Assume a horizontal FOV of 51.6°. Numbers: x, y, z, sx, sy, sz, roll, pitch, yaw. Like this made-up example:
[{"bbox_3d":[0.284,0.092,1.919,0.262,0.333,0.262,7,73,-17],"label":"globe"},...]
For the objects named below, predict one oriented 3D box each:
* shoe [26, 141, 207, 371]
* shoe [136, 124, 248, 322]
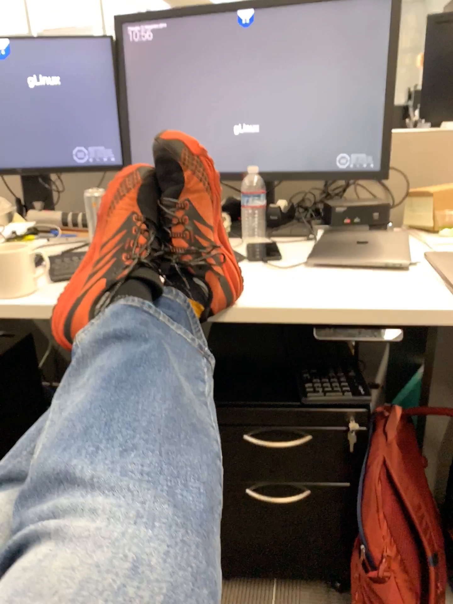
[{"bbox_3d":[-0.152,-0.069,0.654,0.133,0.289,0.091,14,-10,42],"label":"shoe"},{"bbox_3d":[-0.047,-0.118,0.710,0.107,0.271,0.082,10,25,39],"label":"shoe"}]
